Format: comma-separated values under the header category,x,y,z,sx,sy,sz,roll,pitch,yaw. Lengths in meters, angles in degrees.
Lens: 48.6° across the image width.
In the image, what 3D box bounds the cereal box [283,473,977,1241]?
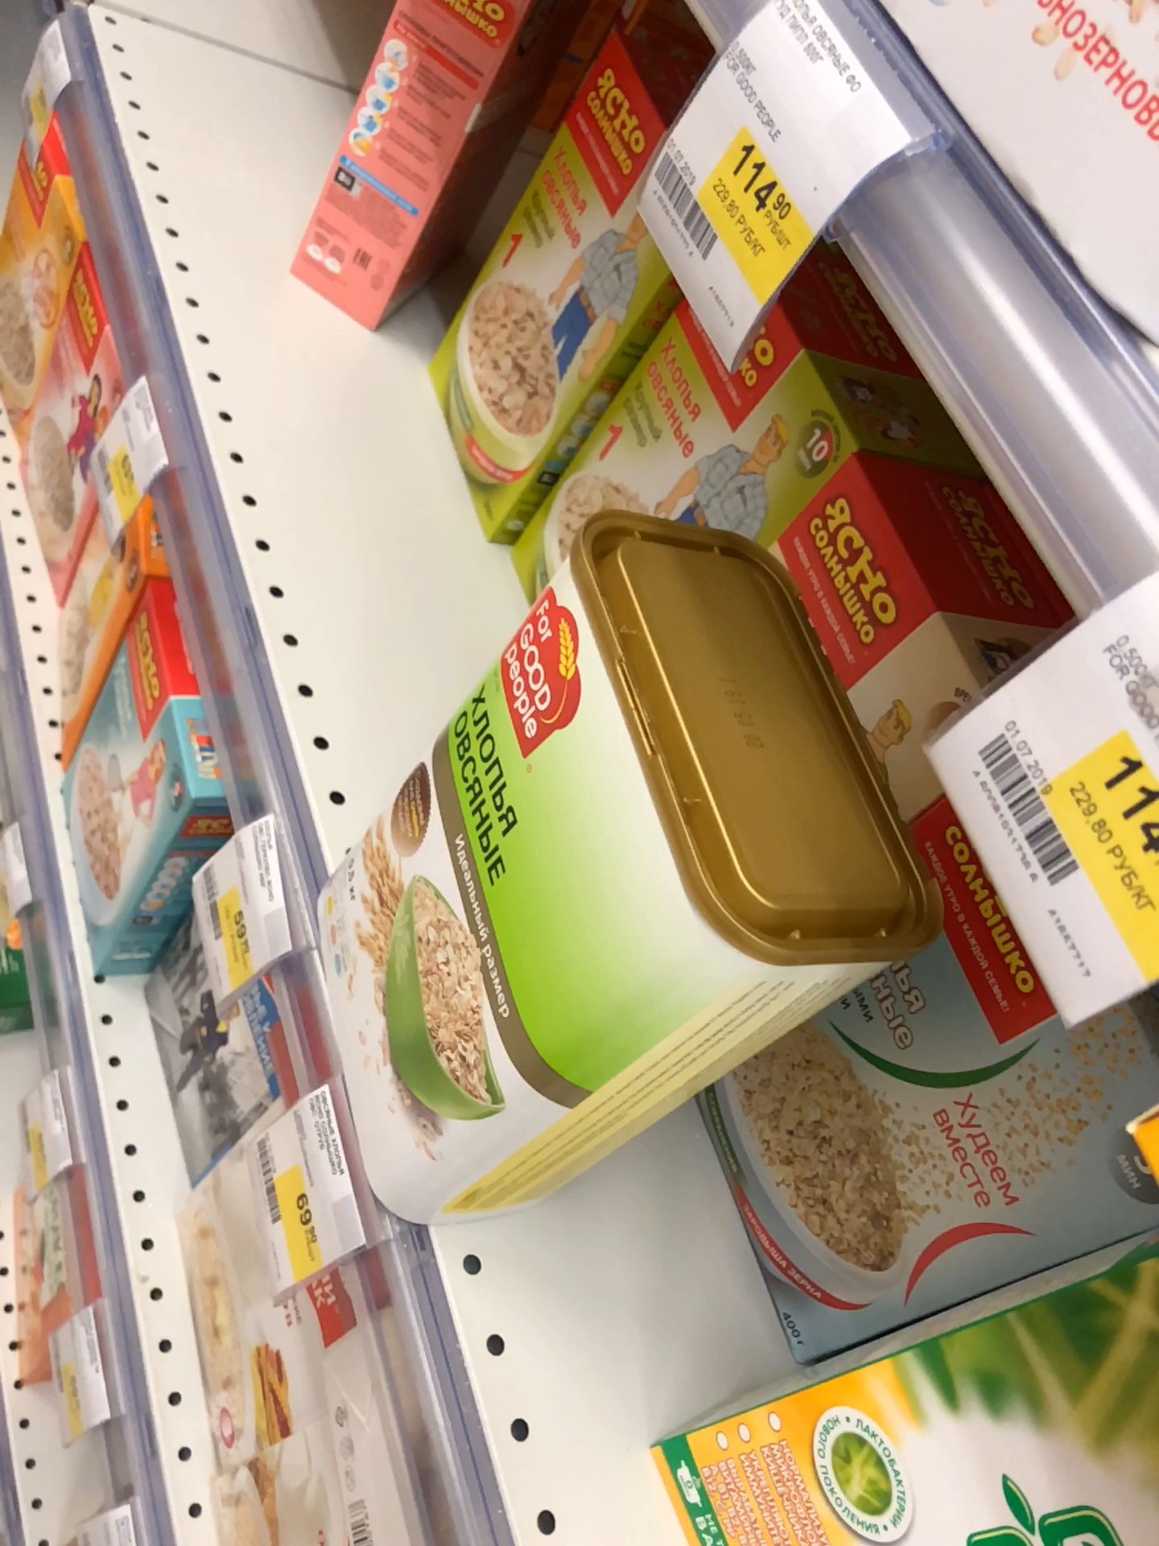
category,x,y,z,sx,sy,sz,roll,pitch,yaw
cereal box,-0.005,0.036,0.387,0.090,0.189,0.140,5,54,-33
